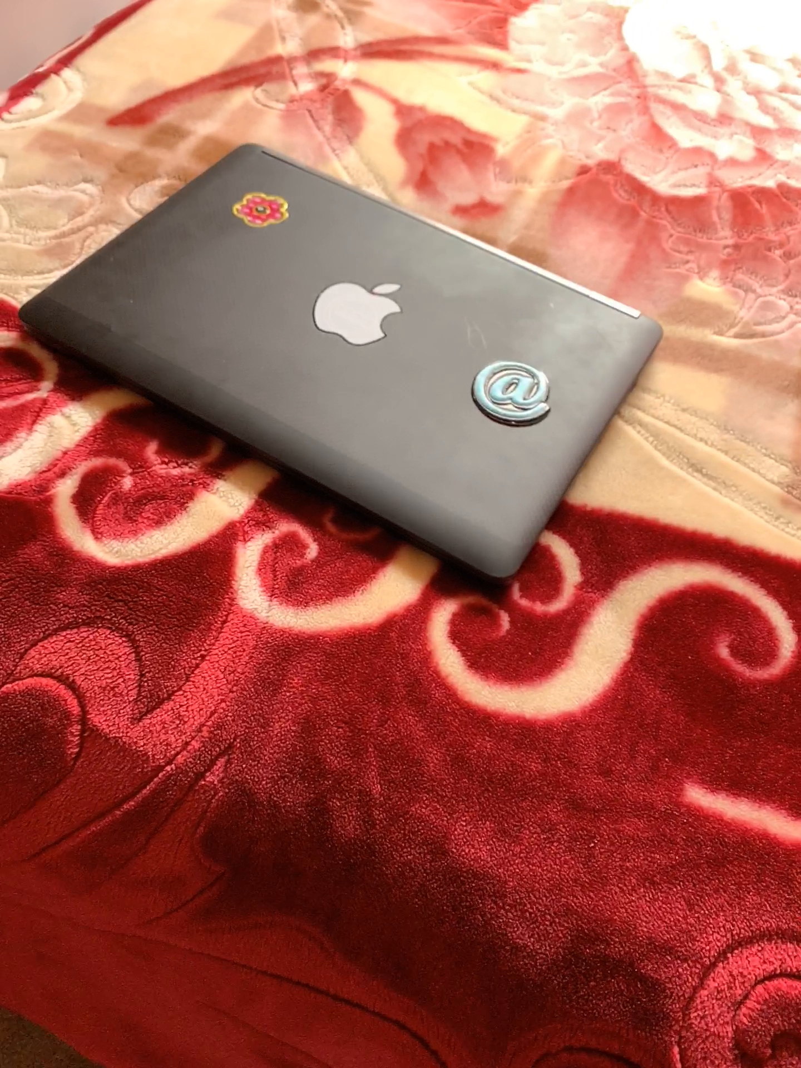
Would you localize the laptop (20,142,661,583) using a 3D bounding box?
[{"bbox_3d":[-0.027,-0.121,0.466,0.300,0.001,0.209,29,58,14],"label":"laptop"}]
